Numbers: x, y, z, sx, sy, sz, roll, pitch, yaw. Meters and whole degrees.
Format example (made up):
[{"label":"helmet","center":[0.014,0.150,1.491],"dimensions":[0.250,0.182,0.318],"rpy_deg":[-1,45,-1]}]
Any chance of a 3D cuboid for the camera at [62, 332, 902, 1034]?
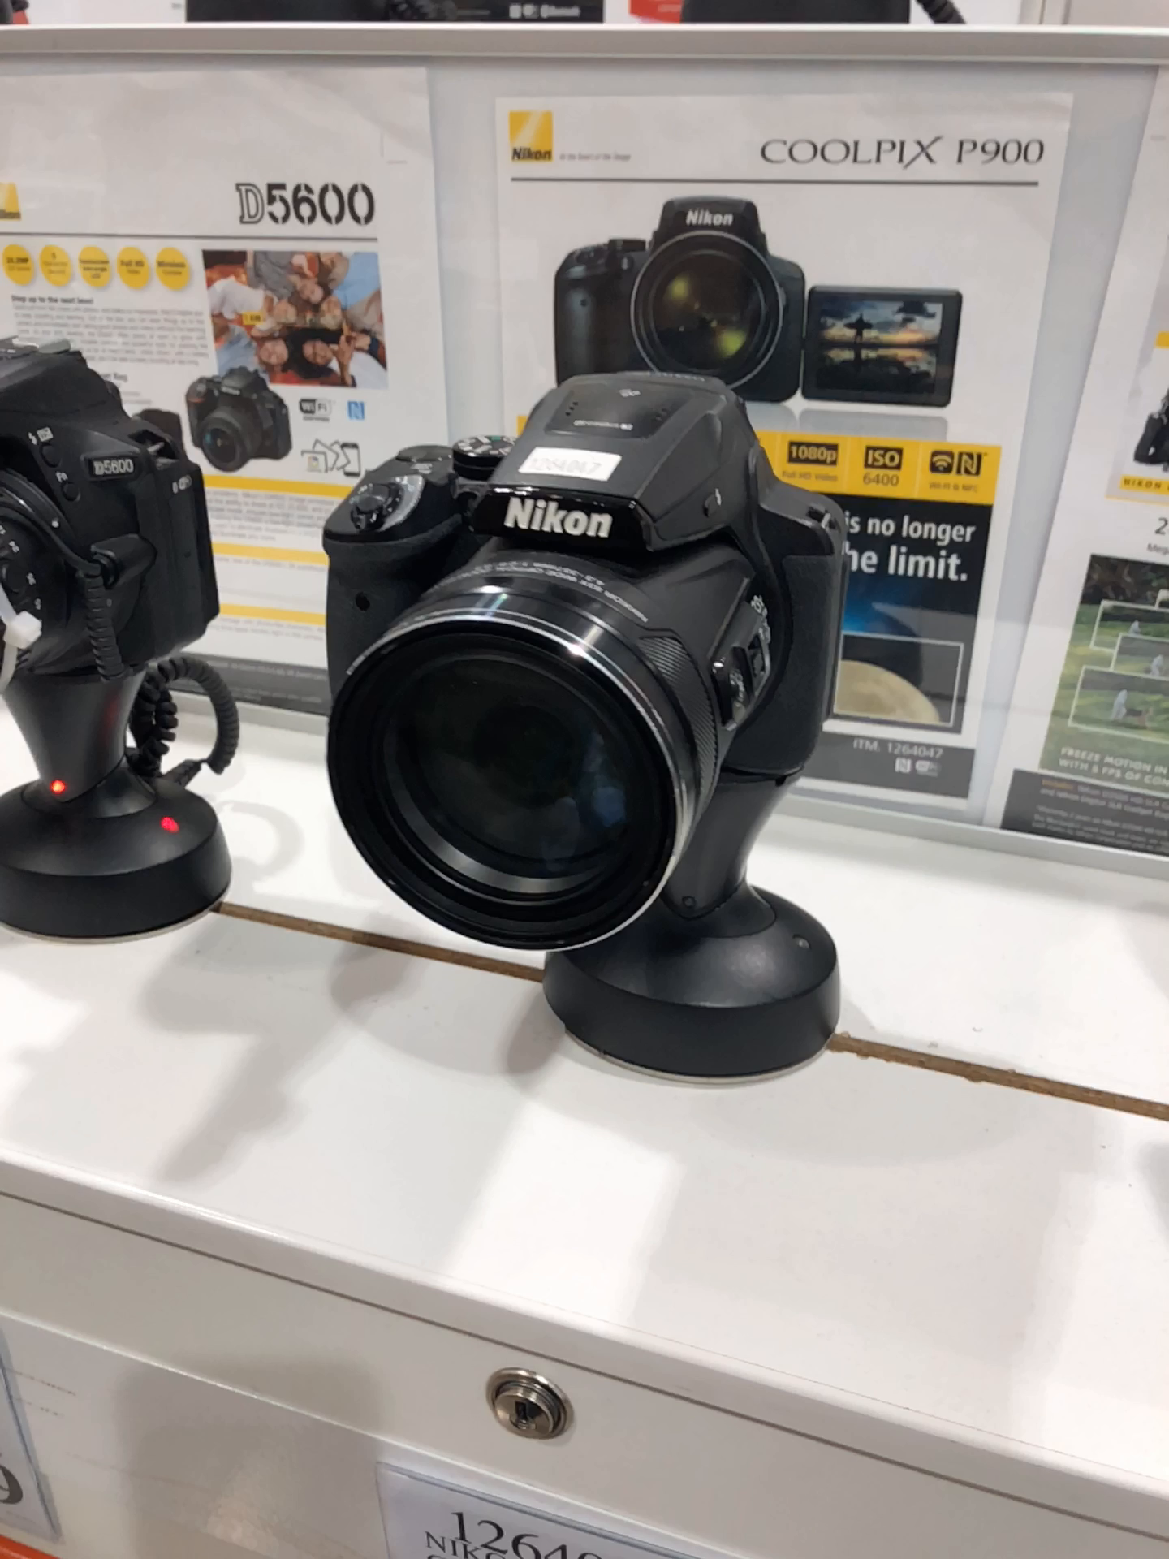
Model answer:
[{"label":"camera","center":[-0.007,-0.041,0.314],"dimensions":[0.140,0.100,0.161],"rpy_deg":[9,28,14]}]
